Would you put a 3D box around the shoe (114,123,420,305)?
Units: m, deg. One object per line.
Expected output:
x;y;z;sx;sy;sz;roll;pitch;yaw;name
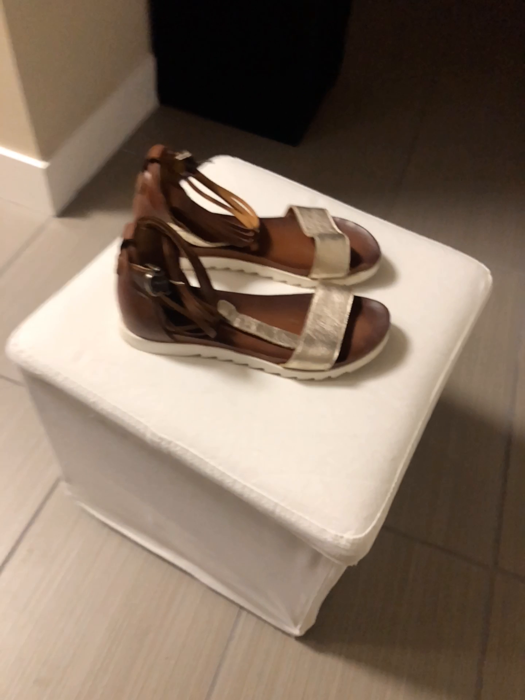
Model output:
0.005;-0.130;0.560;0.260;0.090;0.110;7;53;-2;shoe

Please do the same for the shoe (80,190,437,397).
-0.002;-0.047;0.489;0.260;0.090;0.110;7;53;-2;shoe
